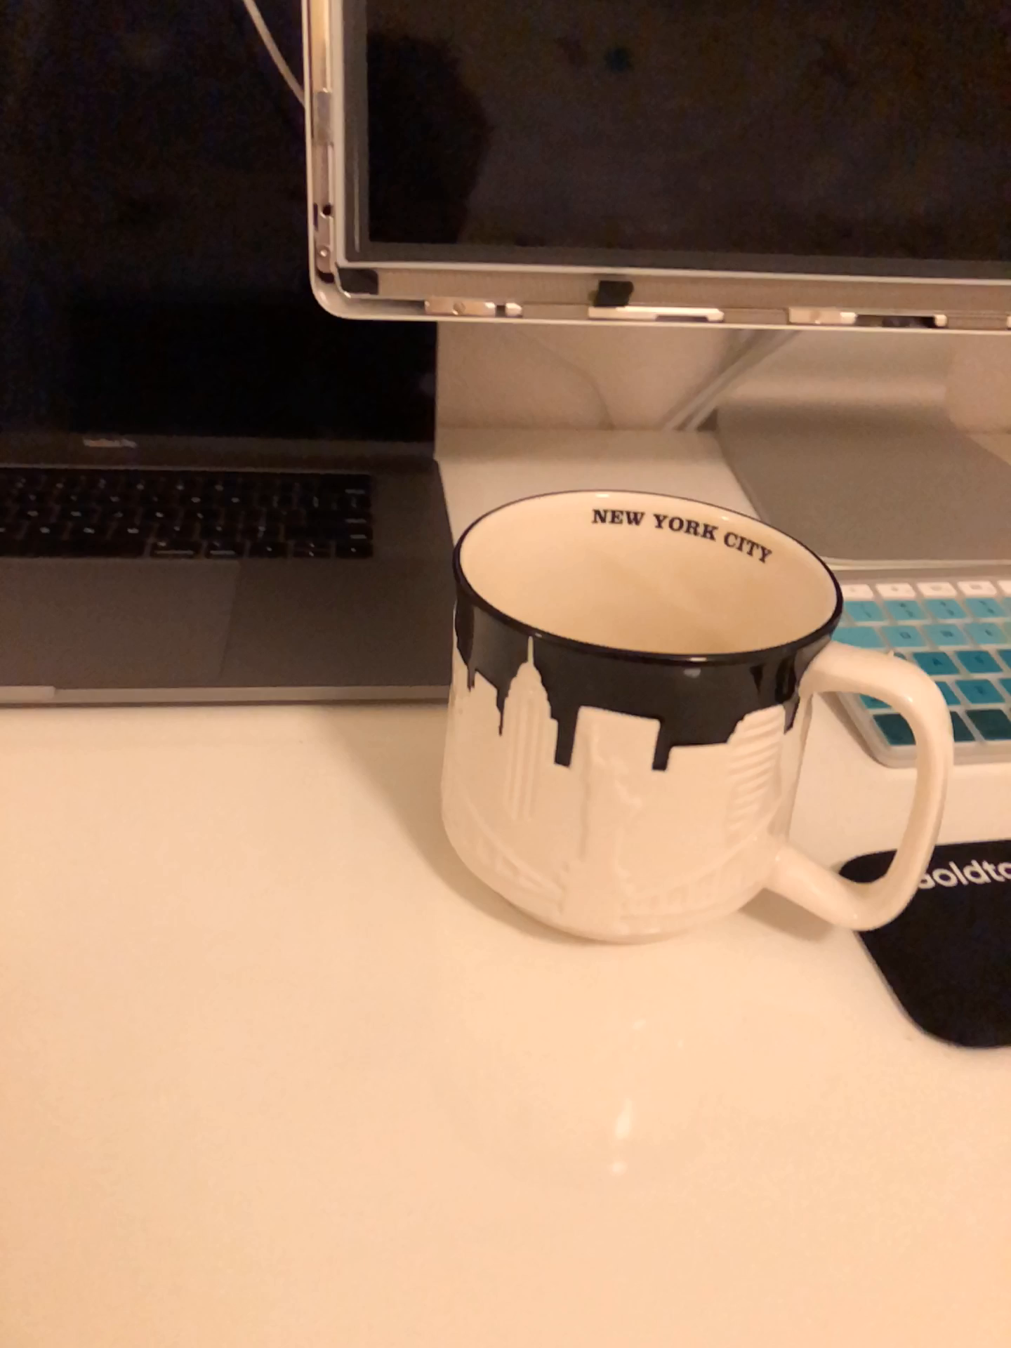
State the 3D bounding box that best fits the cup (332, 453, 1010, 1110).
[{"bbox_3d":[0.052,0.015,0.306,0.160,0.089,0.111,17,34,21],"label":"cup"}]
